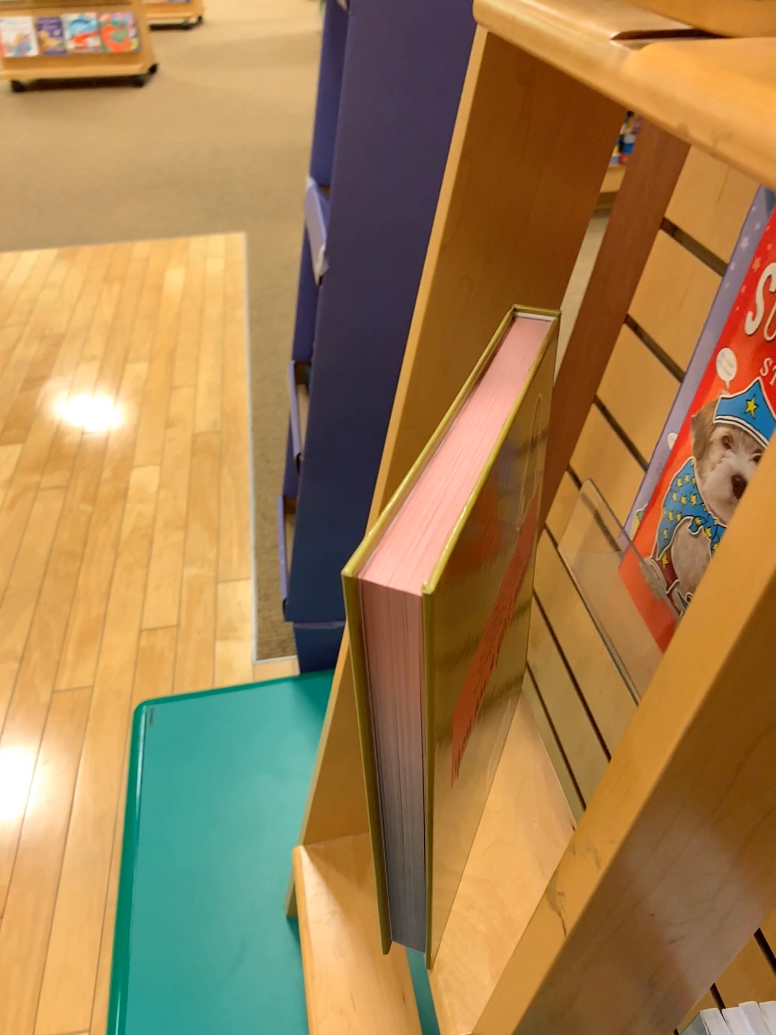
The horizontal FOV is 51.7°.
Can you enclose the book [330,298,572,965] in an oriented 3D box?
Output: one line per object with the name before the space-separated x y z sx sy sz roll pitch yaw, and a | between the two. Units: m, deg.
book | 0.034 0.048 0.341 0.030 0.219 0.181 12 41 17
